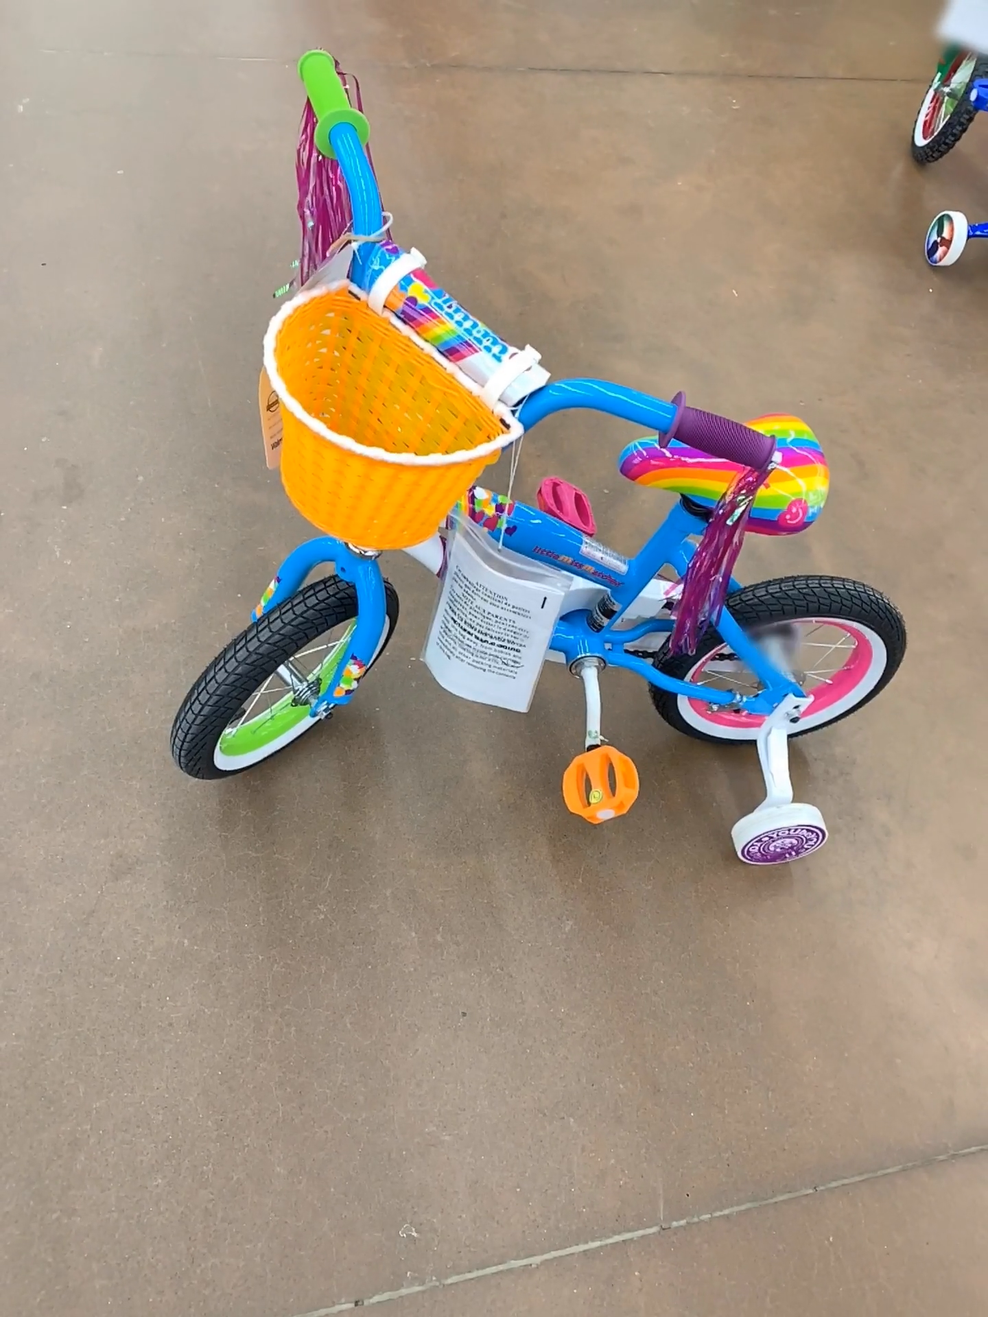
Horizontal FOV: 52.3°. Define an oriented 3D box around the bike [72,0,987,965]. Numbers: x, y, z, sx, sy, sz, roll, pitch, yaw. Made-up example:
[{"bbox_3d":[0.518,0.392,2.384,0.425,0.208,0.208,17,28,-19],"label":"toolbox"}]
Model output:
[{"bbox_3d":[0.097,-0.152,1.012,0.816,0.664,0.554,-7,53,-17],"label":"bike"}]
